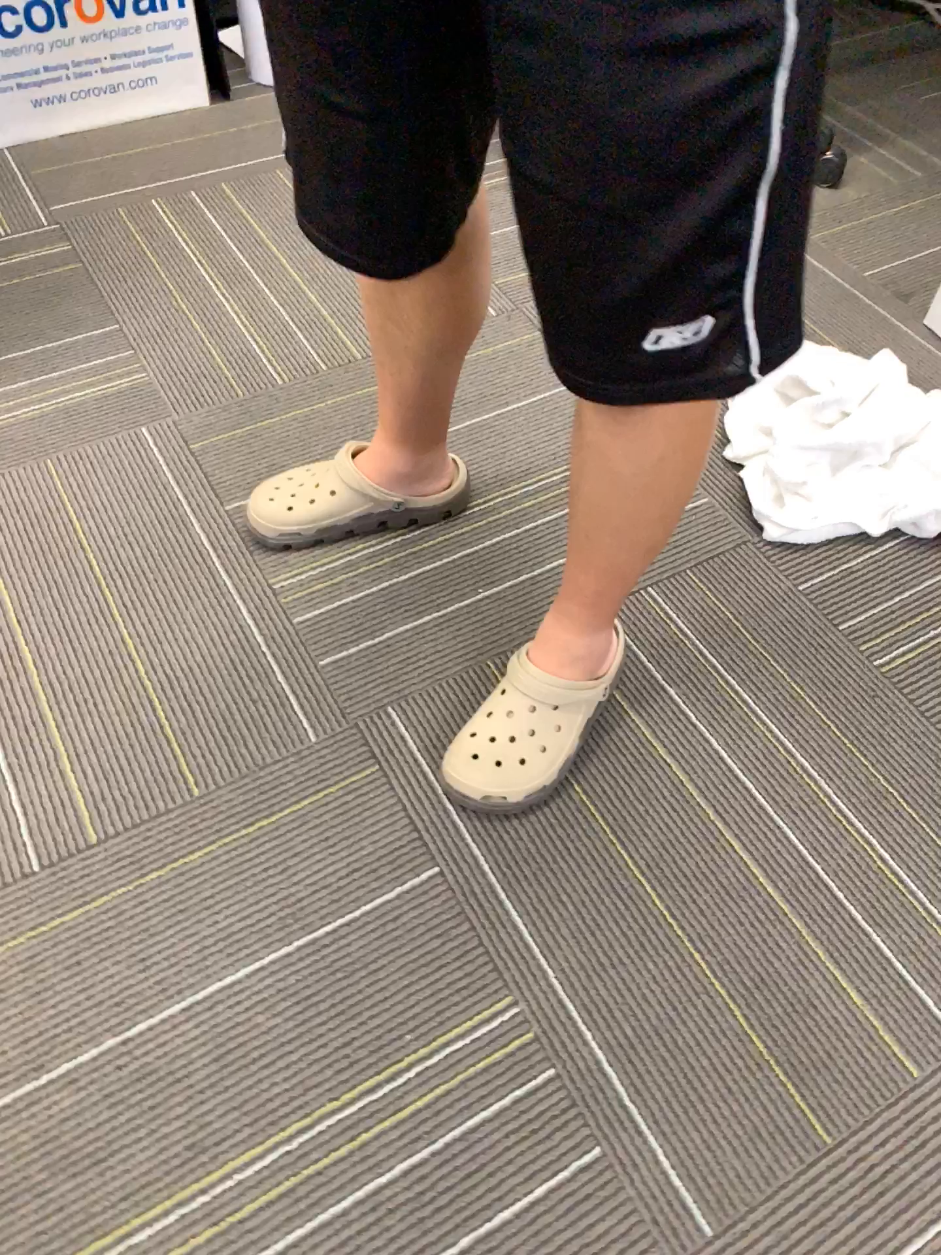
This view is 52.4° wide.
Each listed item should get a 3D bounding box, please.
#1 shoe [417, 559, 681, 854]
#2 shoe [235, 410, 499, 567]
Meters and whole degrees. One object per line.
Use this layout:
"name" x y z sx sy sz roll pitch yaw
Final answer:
"shoe" 0.095 0.079 1.107 0.140 0.090 0.331 30 56 20
"shoe" -0.143 -0.195 1.316 0.330 0.090 0.151 -10 53 -10
